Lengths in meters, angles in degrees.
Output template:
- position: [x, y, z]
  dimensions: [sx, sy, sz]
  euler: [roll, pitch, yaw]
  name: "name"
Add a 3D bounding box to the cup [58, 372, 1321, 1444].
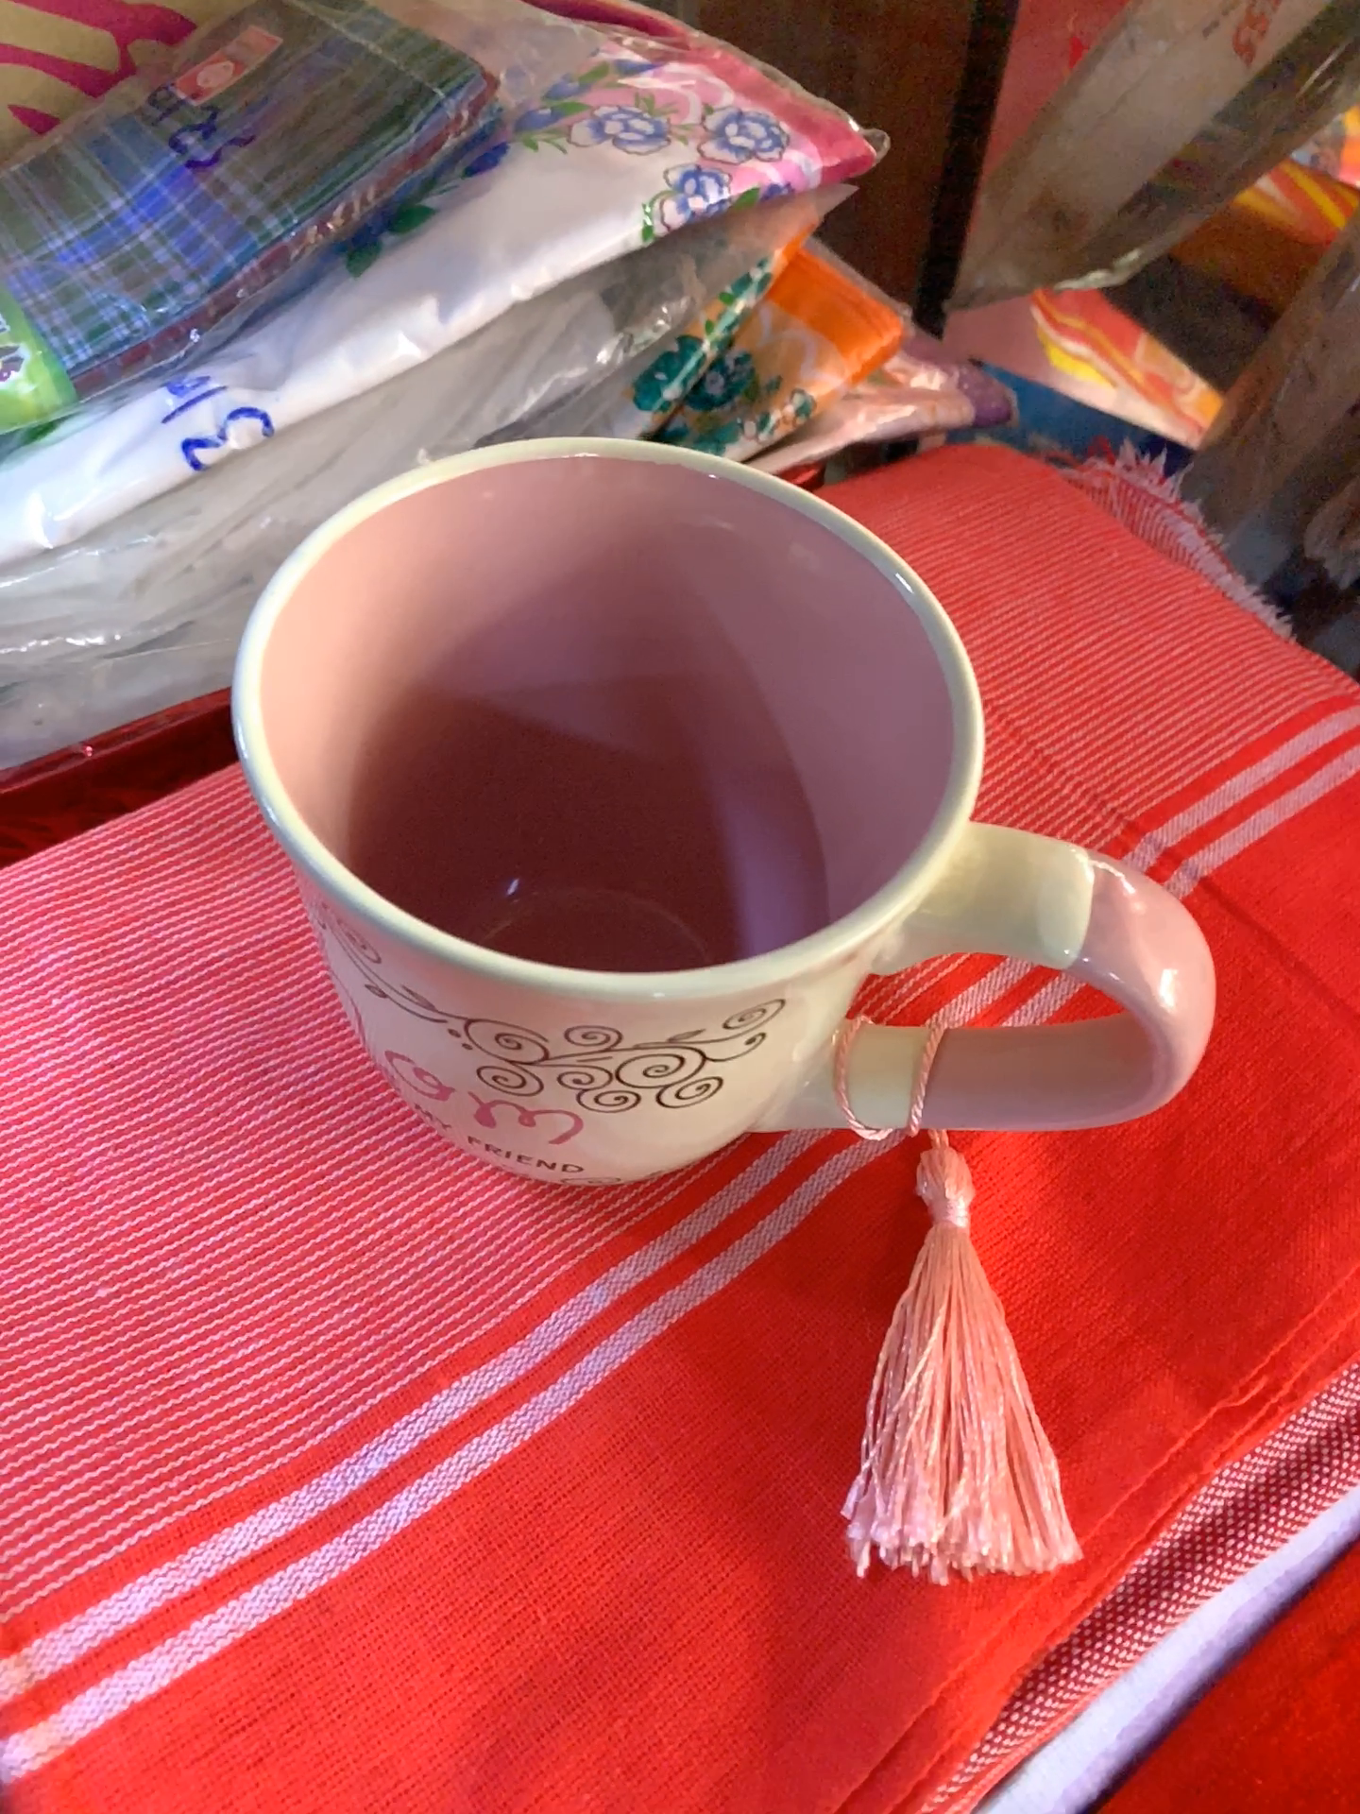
- position: [0.007, -0.002, 0.202]
  dimensions: [0.130, 0.080, 0.094]
  euler: [15, 54, 8]
  name: "cup"
